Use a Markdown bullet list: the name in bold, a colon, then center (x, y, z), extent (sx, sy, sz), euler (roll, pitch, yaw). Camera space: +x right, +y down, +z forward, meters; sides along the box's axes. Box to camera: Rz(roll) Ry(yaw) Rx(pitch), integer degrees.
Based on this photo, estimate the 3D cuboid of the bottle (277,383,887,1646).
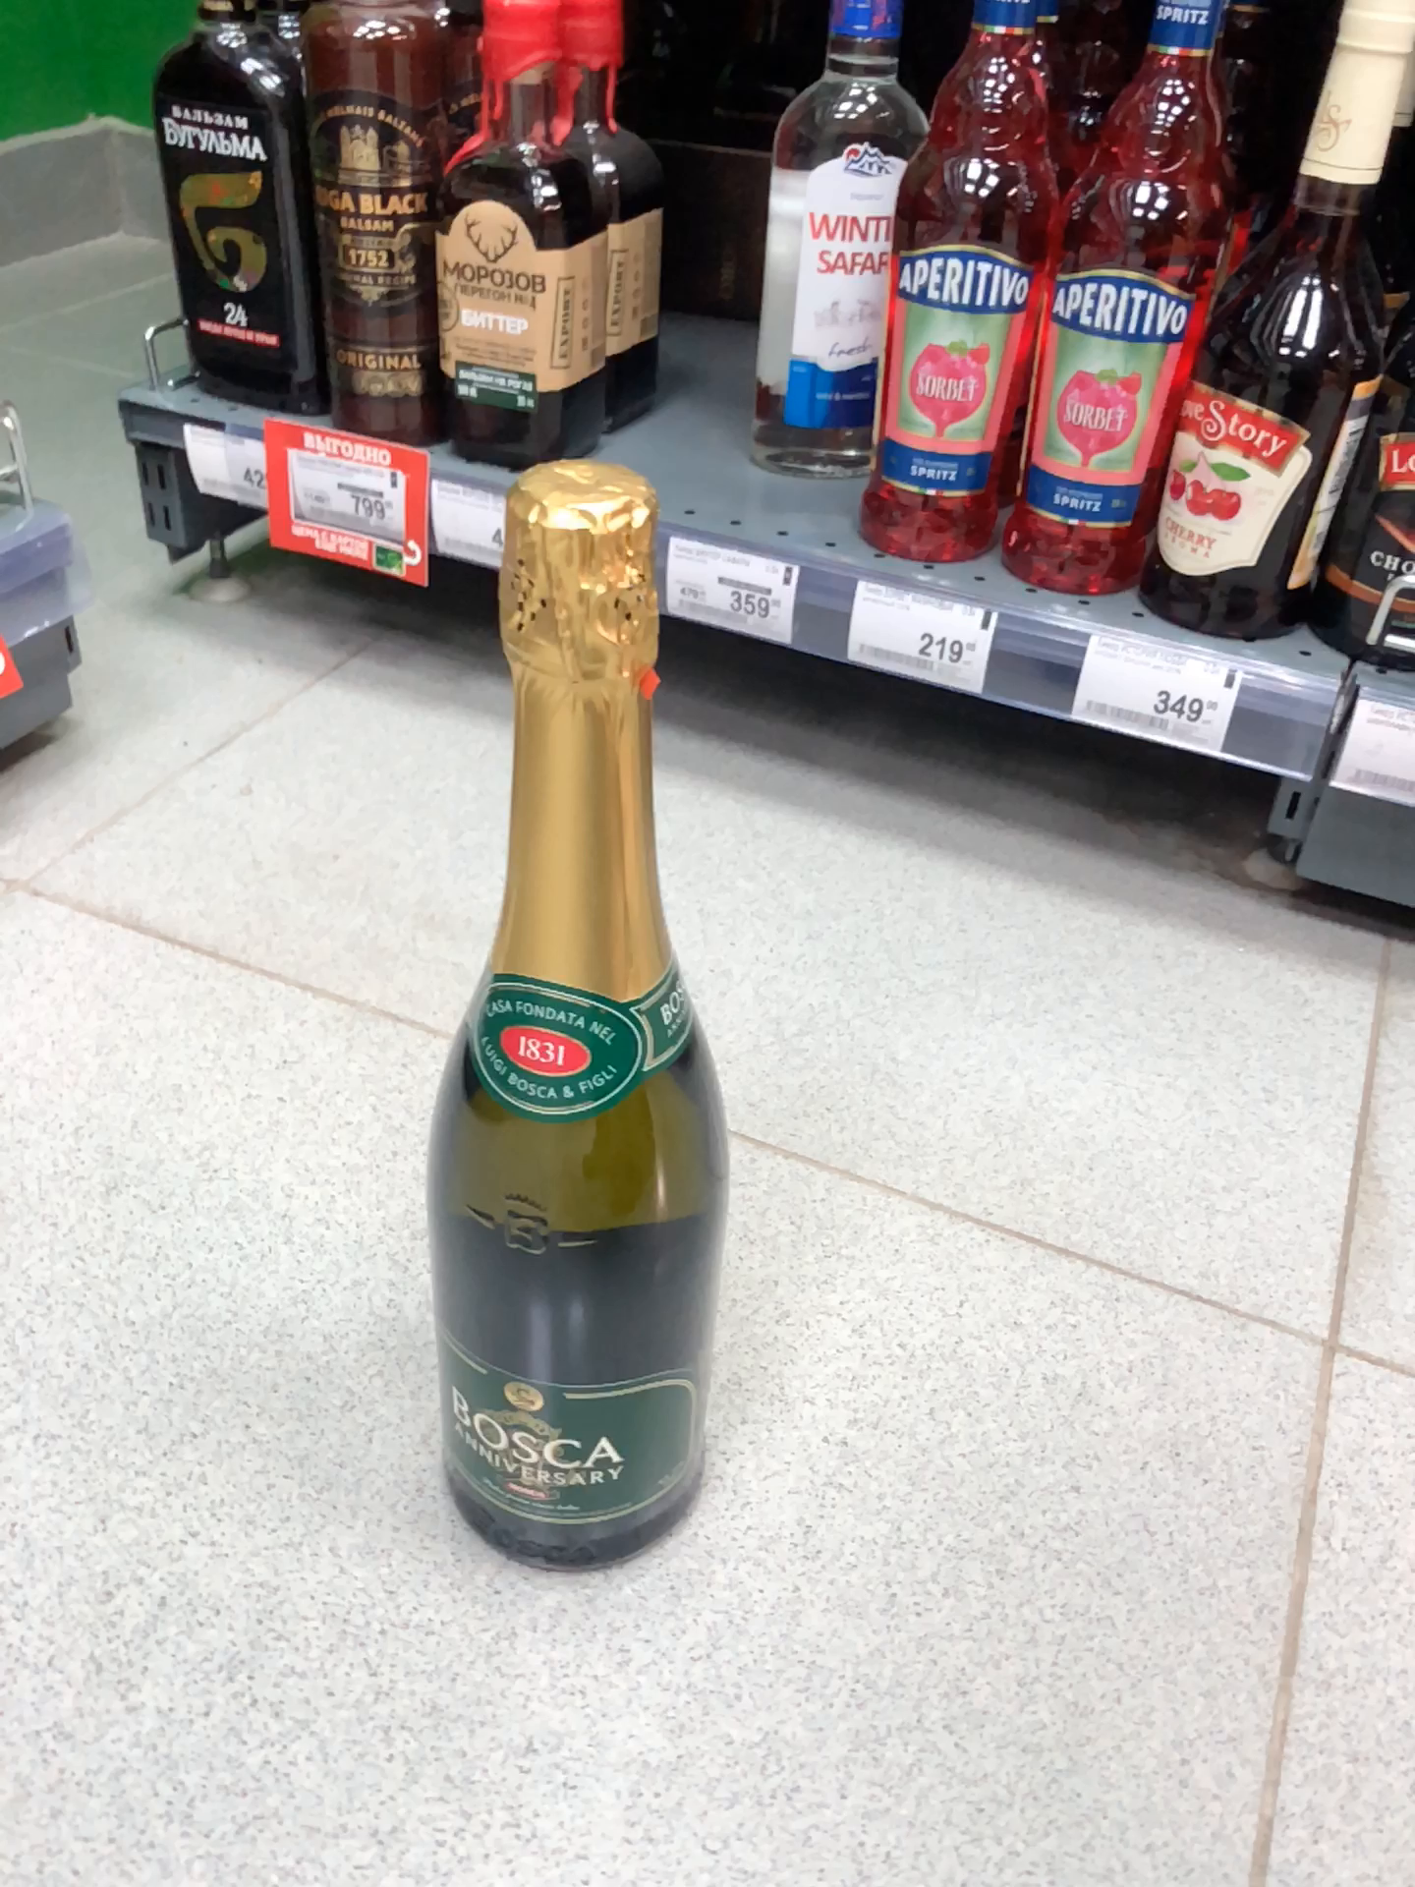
- **bottle**: center (-0.030, 0.036, 0.396), extent (0.090, 0.314, 0.091), euler (3, 36, -2)
